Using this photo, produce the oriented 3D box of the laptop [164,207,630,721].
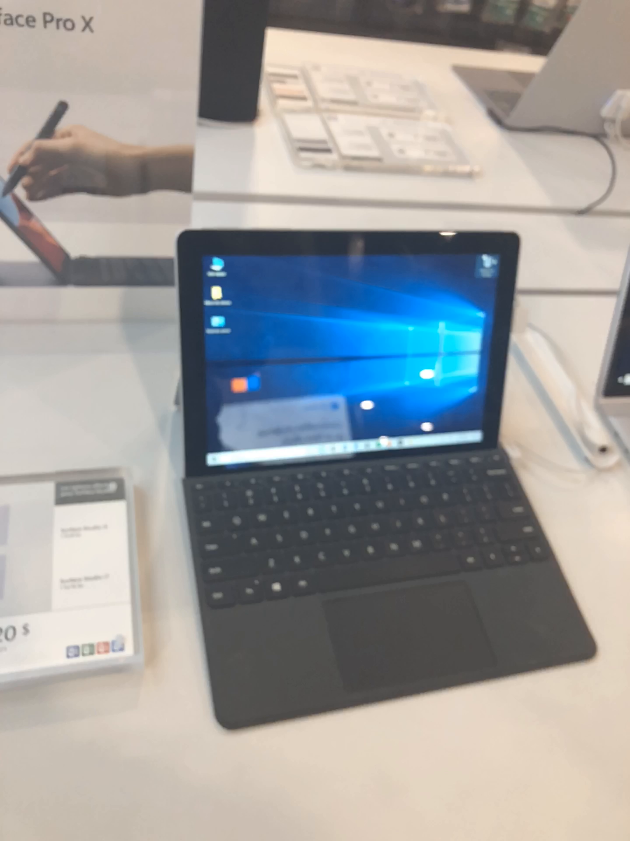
[{"bbox_3d":[0.044,0.009,0.440,0.237,0.140,0.251,-4,51,-19],"label":"laptop"}]
